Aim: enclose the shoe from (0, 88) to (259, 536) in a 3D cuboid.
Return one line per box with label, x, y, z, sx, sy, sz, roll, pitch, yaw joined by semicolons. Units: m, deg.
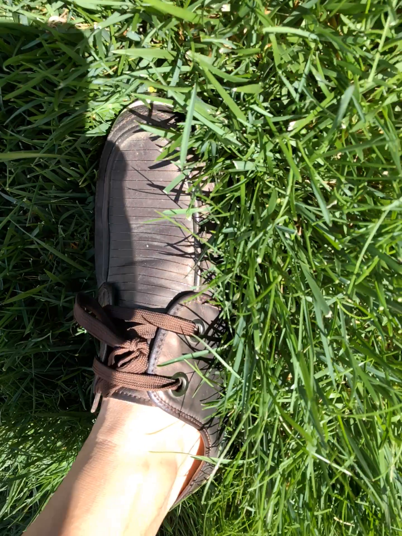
shoe;-0.031;0.041;0.283;0.112;0.093;0.281;3;111;19
